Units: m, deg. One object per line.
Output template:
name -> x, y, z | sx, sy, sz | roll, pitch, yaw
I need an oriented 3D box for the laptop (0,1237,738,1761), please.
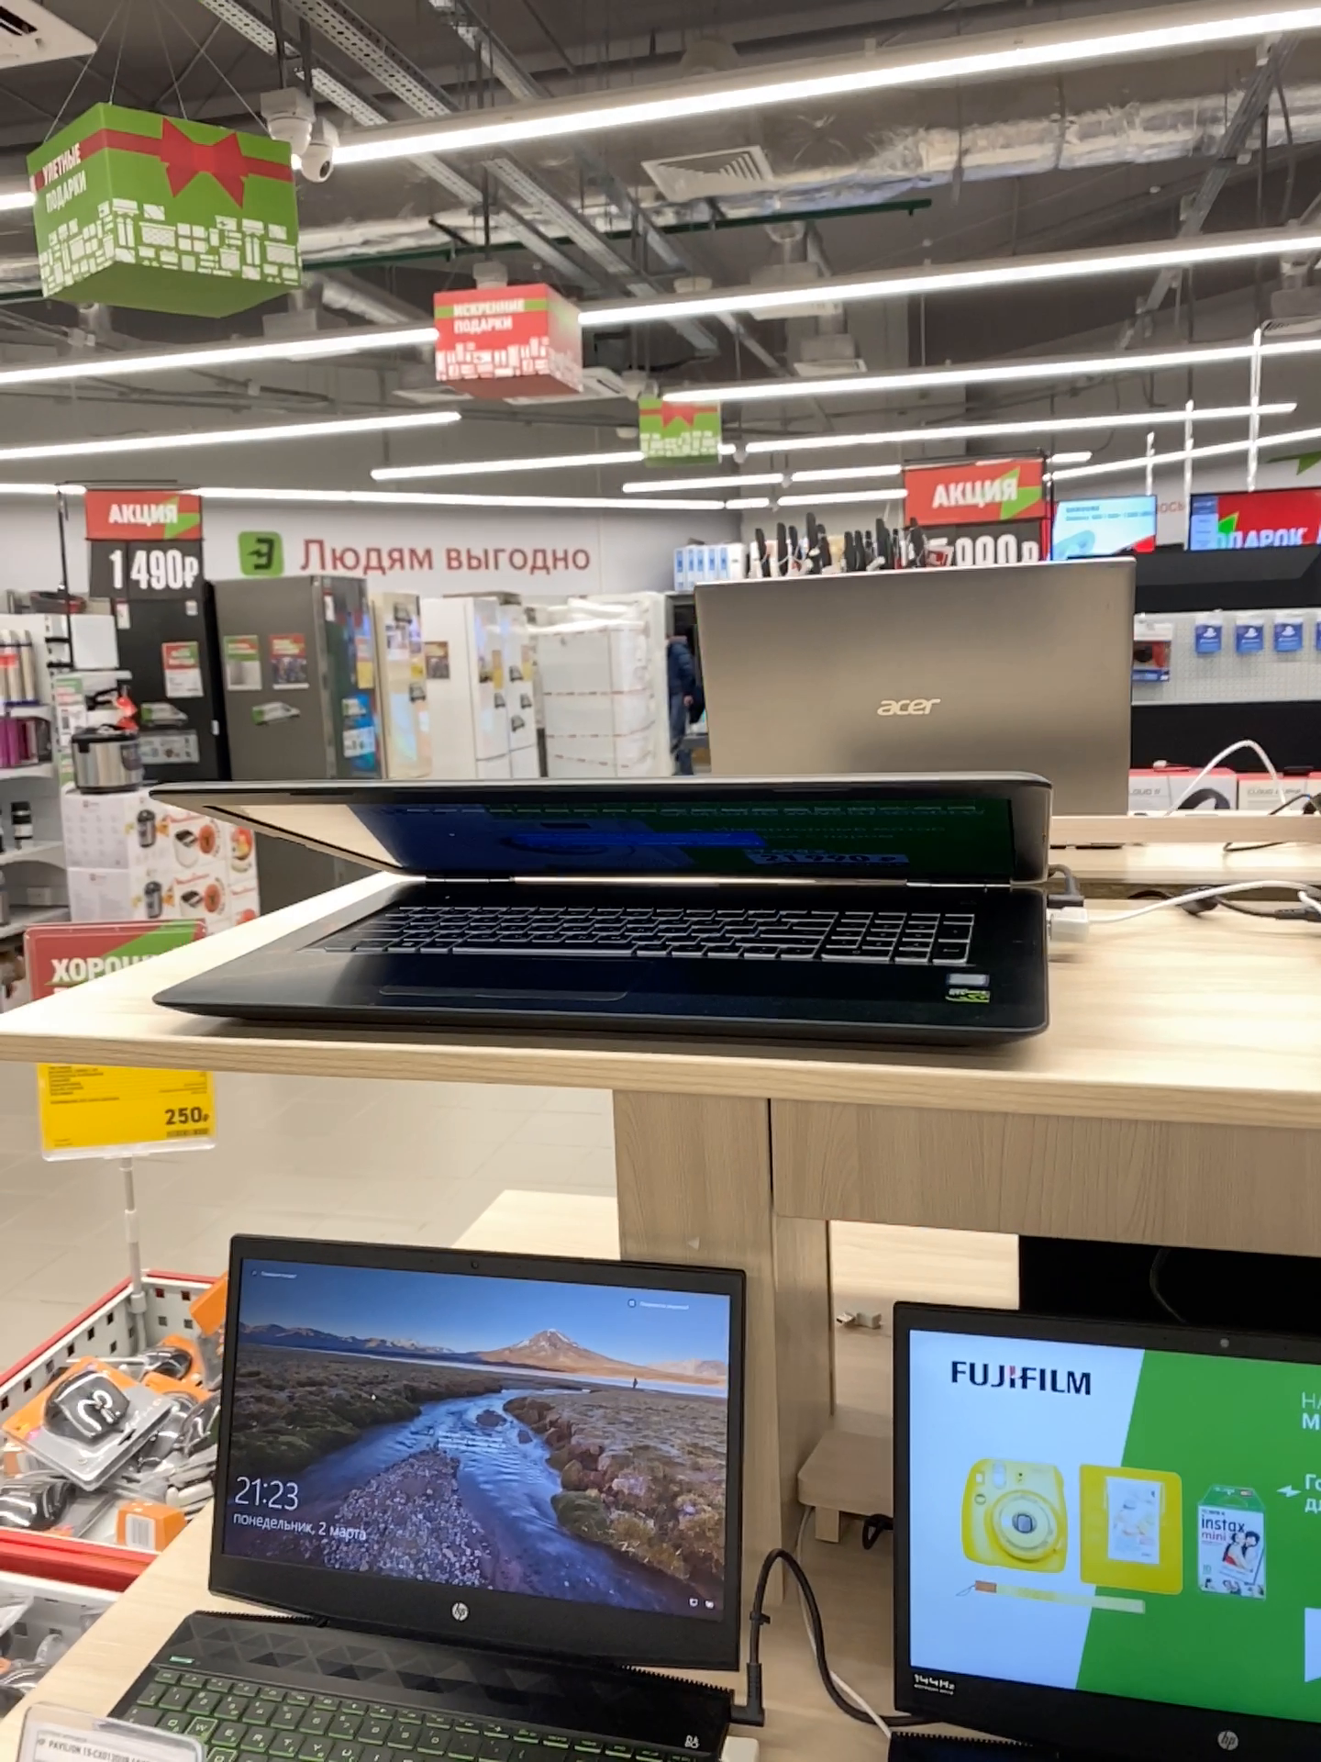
laptop -> -0.154, 0.379, 0.742 | 0.344, 0.220, 0.315 | 1, 9, 13

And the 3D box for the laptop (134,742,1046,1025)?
laptop -> -0.012, -0.012, 0.702 | 0.404, 0.084, 0.271 | 0, 11, 15

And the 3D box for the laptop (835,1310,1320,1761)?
laptop -> 0.279, 0.382, 0.610 | 0.353, 0.226, 0.299 | 0, 9, 15
